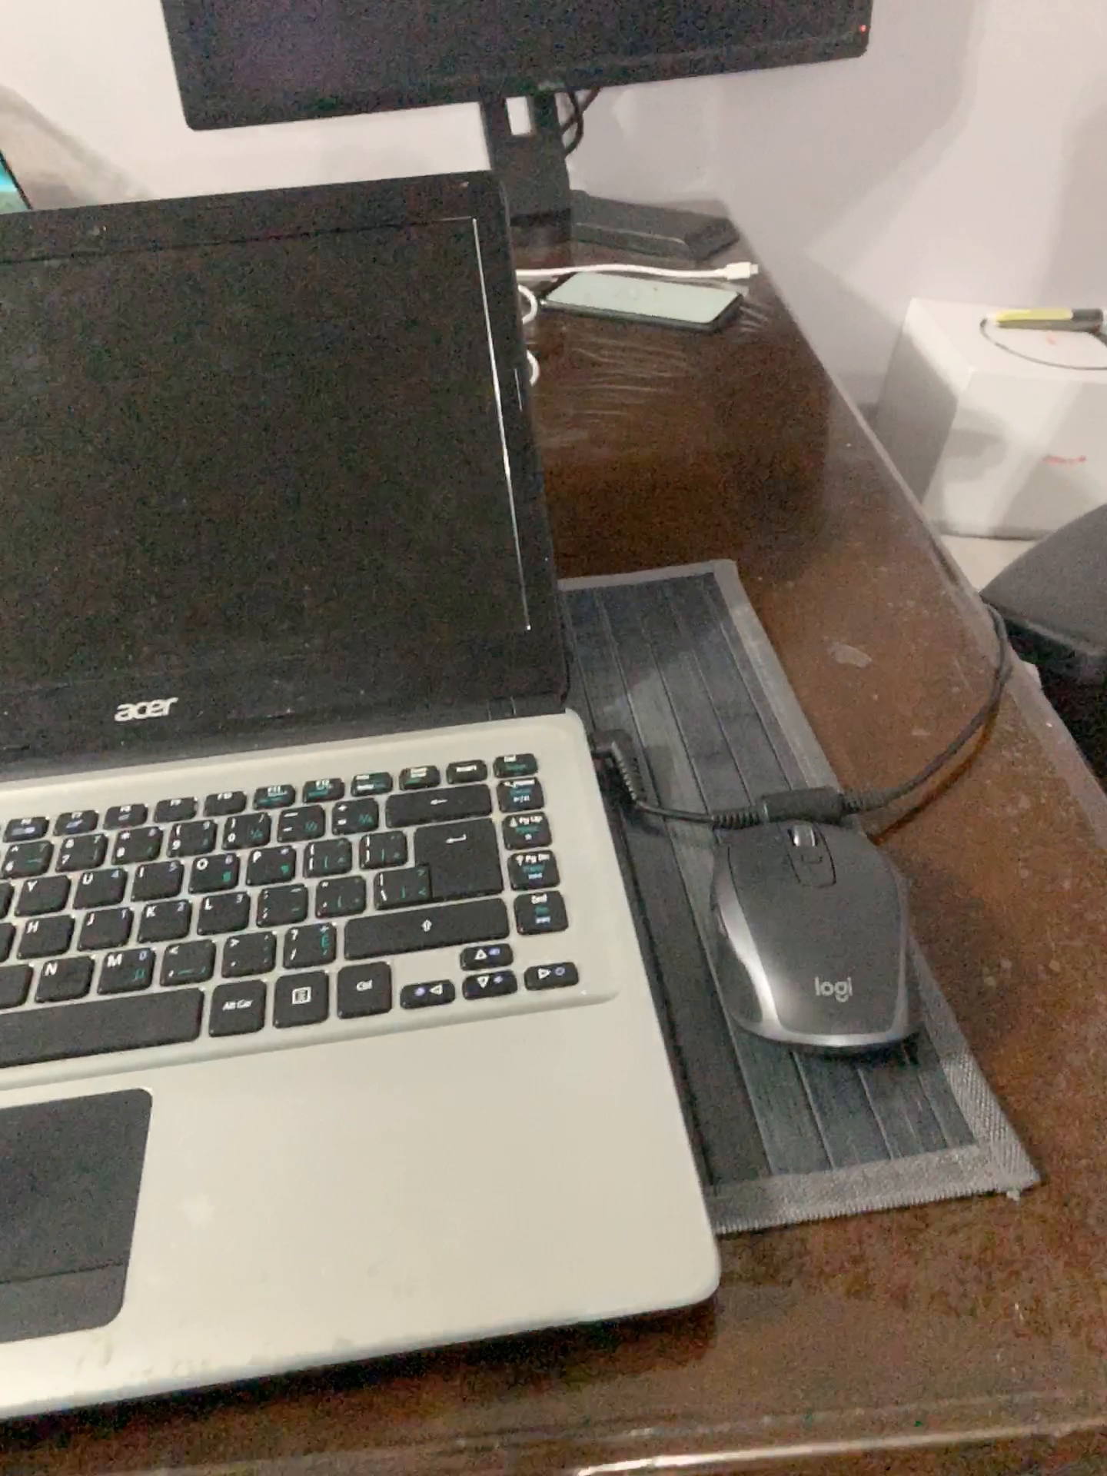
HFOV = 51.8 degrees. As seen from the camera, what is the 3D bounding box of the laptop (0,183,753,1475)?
[{"bbox_3d":[-0.158,-0.030,0.351,0.330,0.146,0.388,-7,40,-5],"label":"laptop"}]
